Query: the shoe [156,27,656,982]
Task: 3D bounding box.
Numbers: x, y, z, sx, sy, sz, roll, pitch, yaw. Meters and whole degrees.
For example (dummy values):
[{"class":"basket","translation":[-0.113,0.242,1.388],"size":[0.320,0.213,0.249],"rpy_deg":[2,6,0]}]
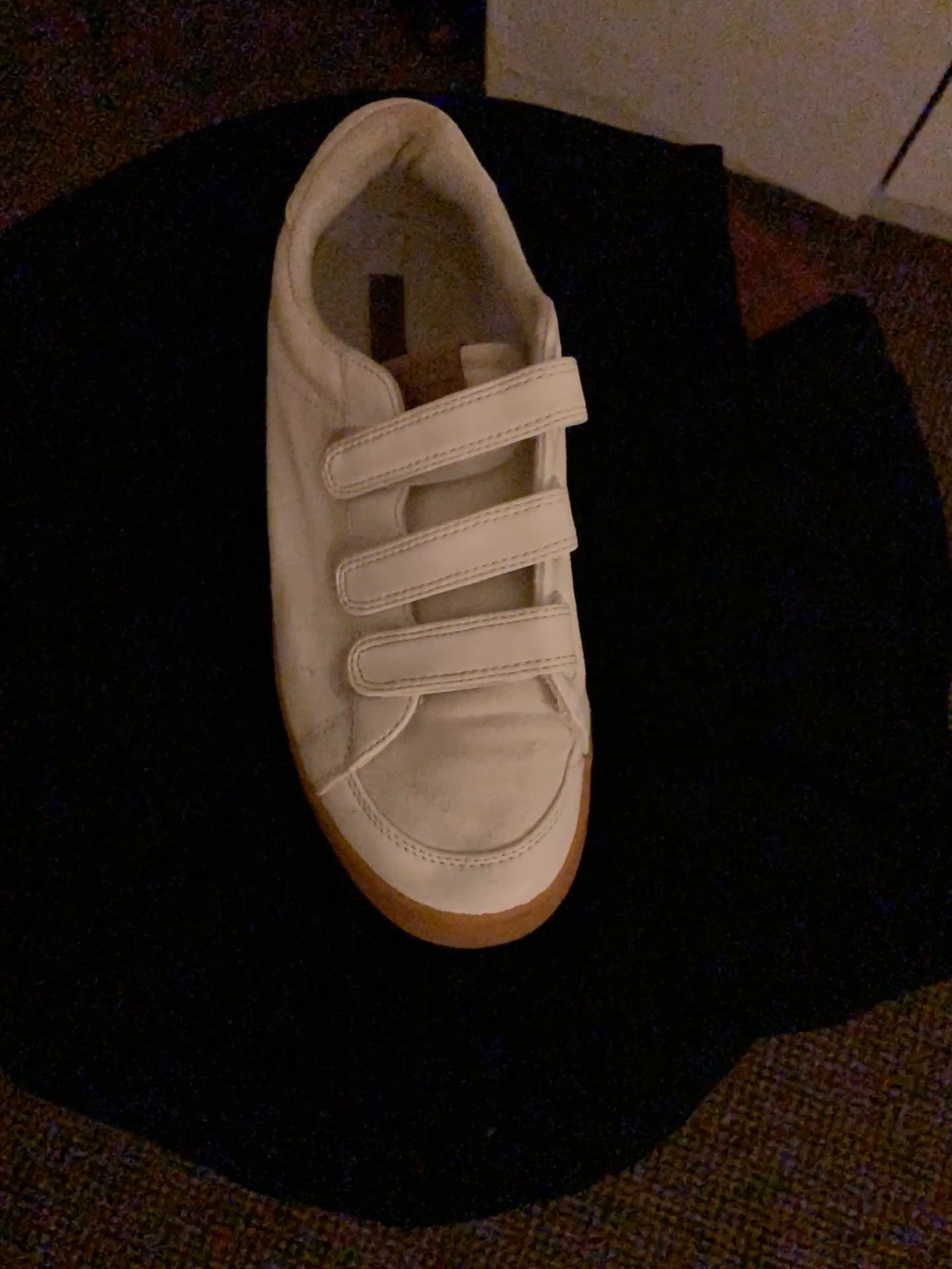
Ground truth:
[{"class":"shoe","translation":[-0.026,-0.040,0.296],"size":[0.096,0.080,0.255],"rpy_deg":[-9,76,-2]}]
